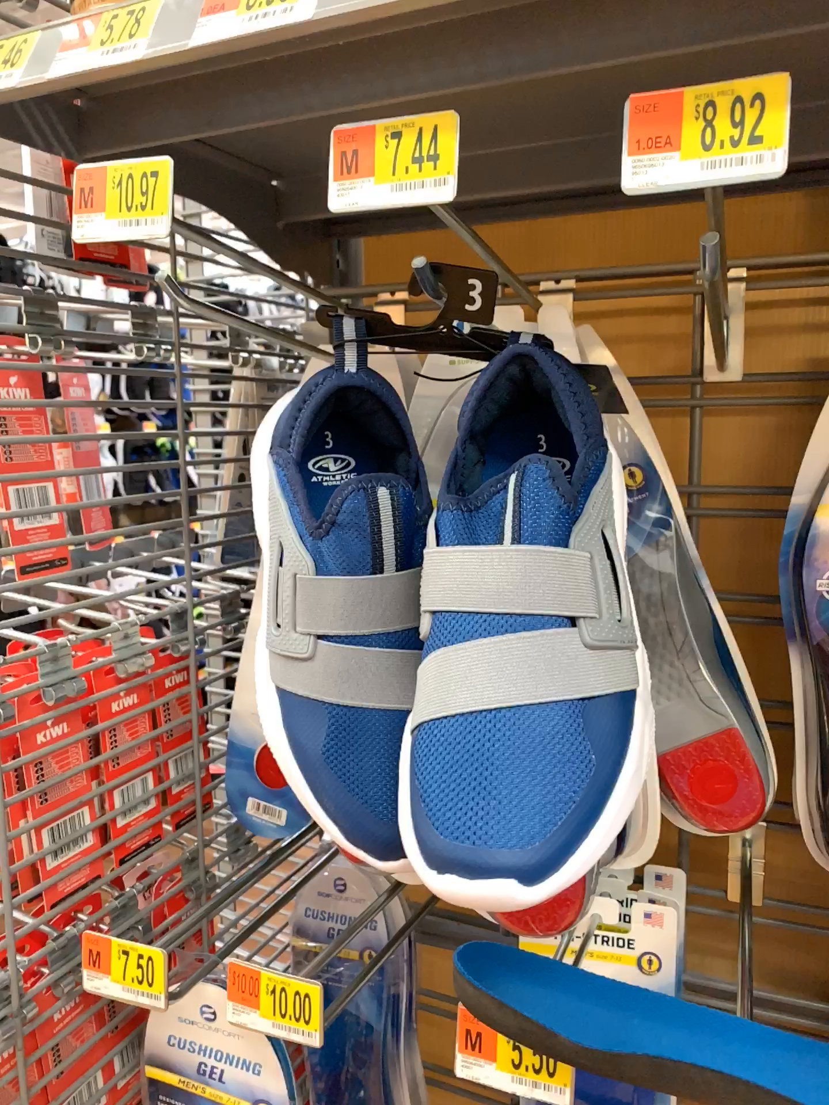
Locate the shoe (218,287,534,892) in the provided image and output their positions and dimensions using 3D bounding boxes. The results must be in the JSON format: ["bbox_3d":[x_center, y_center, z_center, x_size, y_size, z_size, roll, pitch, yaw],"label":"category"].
[{"bbox_3d":[-0.030,0.014,0.385,0.095,0.246,0.098,-4,-20,-13],"label":"shoe"}]

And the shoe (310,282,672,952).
[{"bbox_3d":[0.047,0.017,0.337,0.101,0.234,0.098,1,-30,16],"label":"shoe"}]
